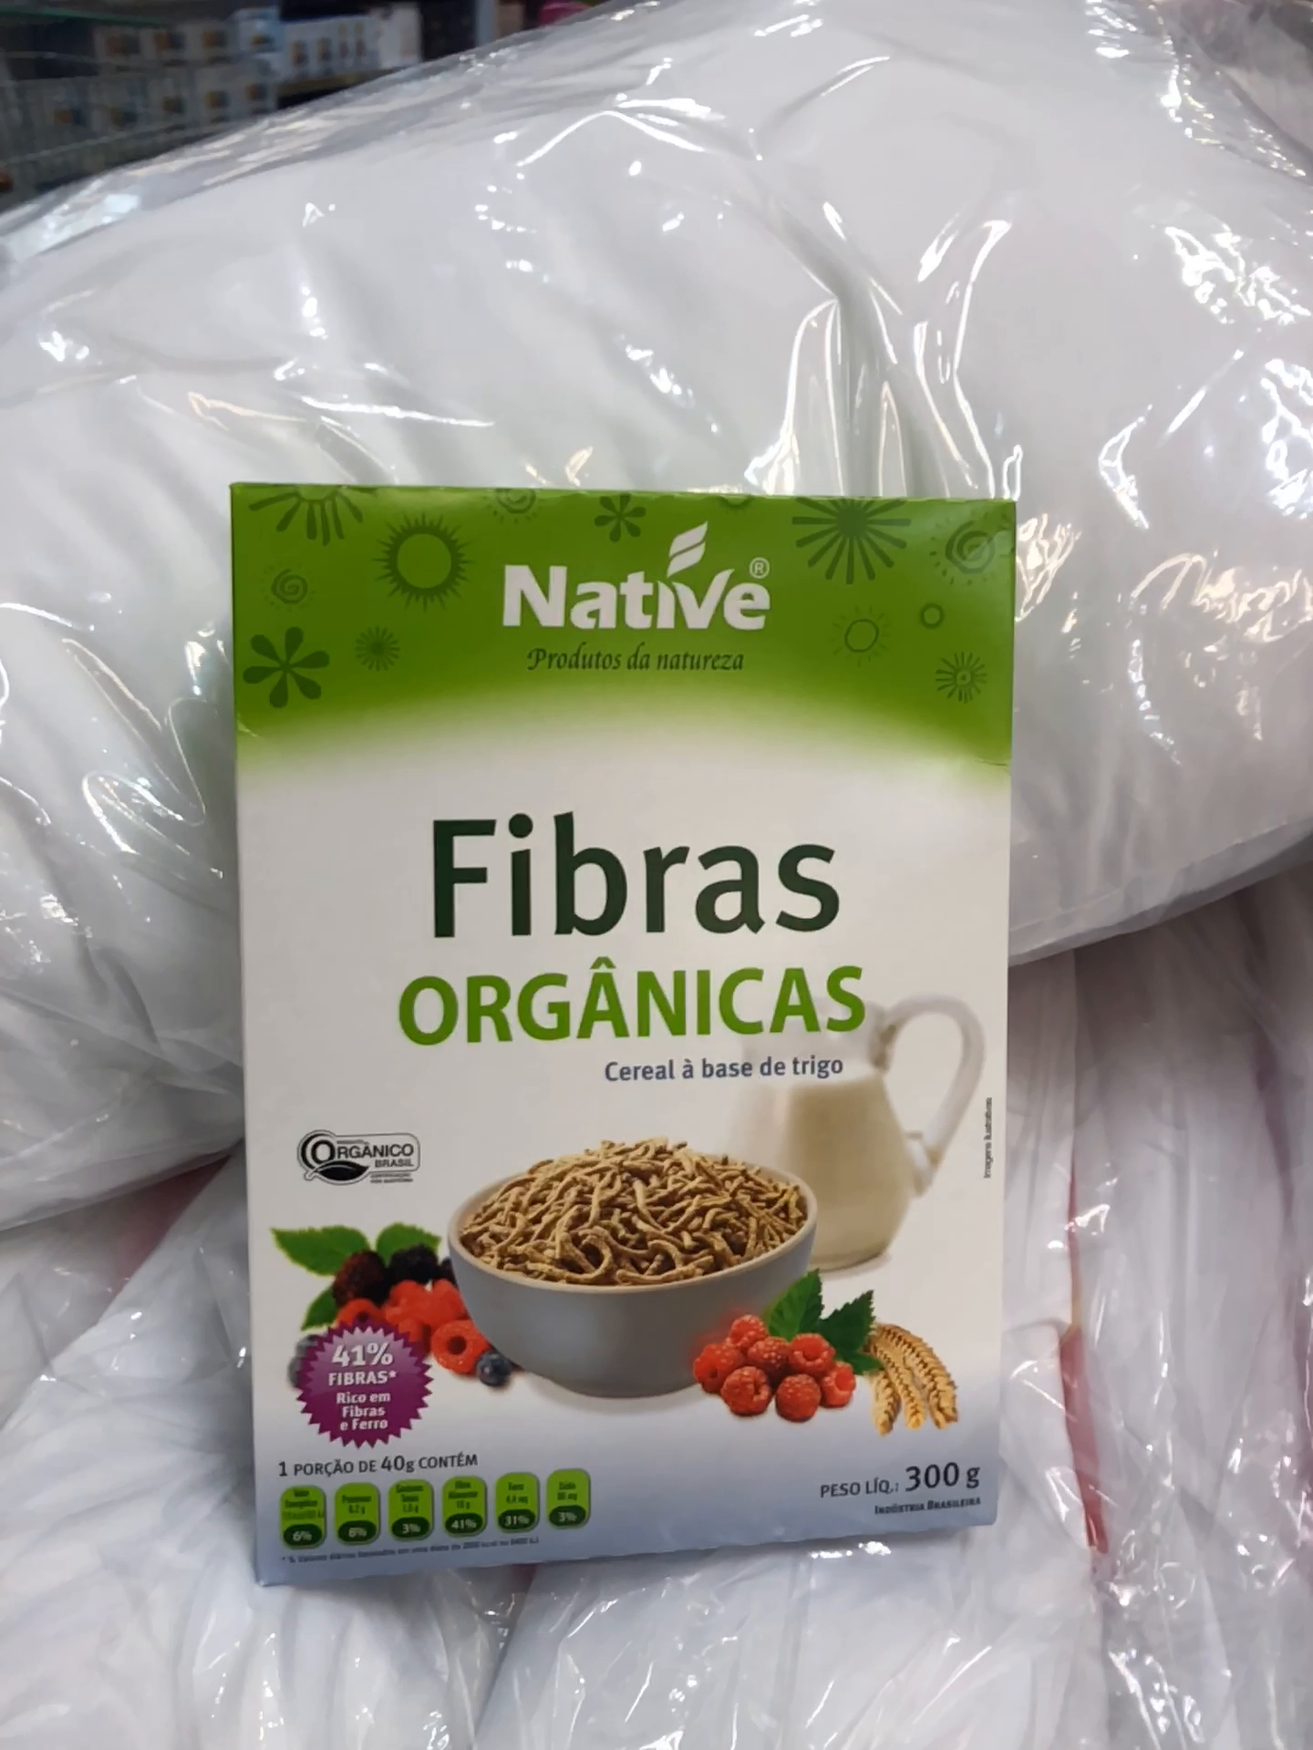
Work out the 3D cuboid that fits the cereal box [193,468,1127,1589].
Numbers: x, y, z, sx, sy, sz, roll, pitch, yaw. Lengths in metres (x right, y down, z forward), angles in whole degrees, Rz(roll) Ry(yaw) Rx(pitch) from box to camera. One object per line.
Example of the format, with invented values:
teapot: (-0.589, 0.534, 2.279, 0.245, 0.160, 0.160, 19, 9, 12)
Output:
cereal box: (0.001, 0.030, 0.335, 0.190, 0.230, 0.060, -1, 6, -7)
